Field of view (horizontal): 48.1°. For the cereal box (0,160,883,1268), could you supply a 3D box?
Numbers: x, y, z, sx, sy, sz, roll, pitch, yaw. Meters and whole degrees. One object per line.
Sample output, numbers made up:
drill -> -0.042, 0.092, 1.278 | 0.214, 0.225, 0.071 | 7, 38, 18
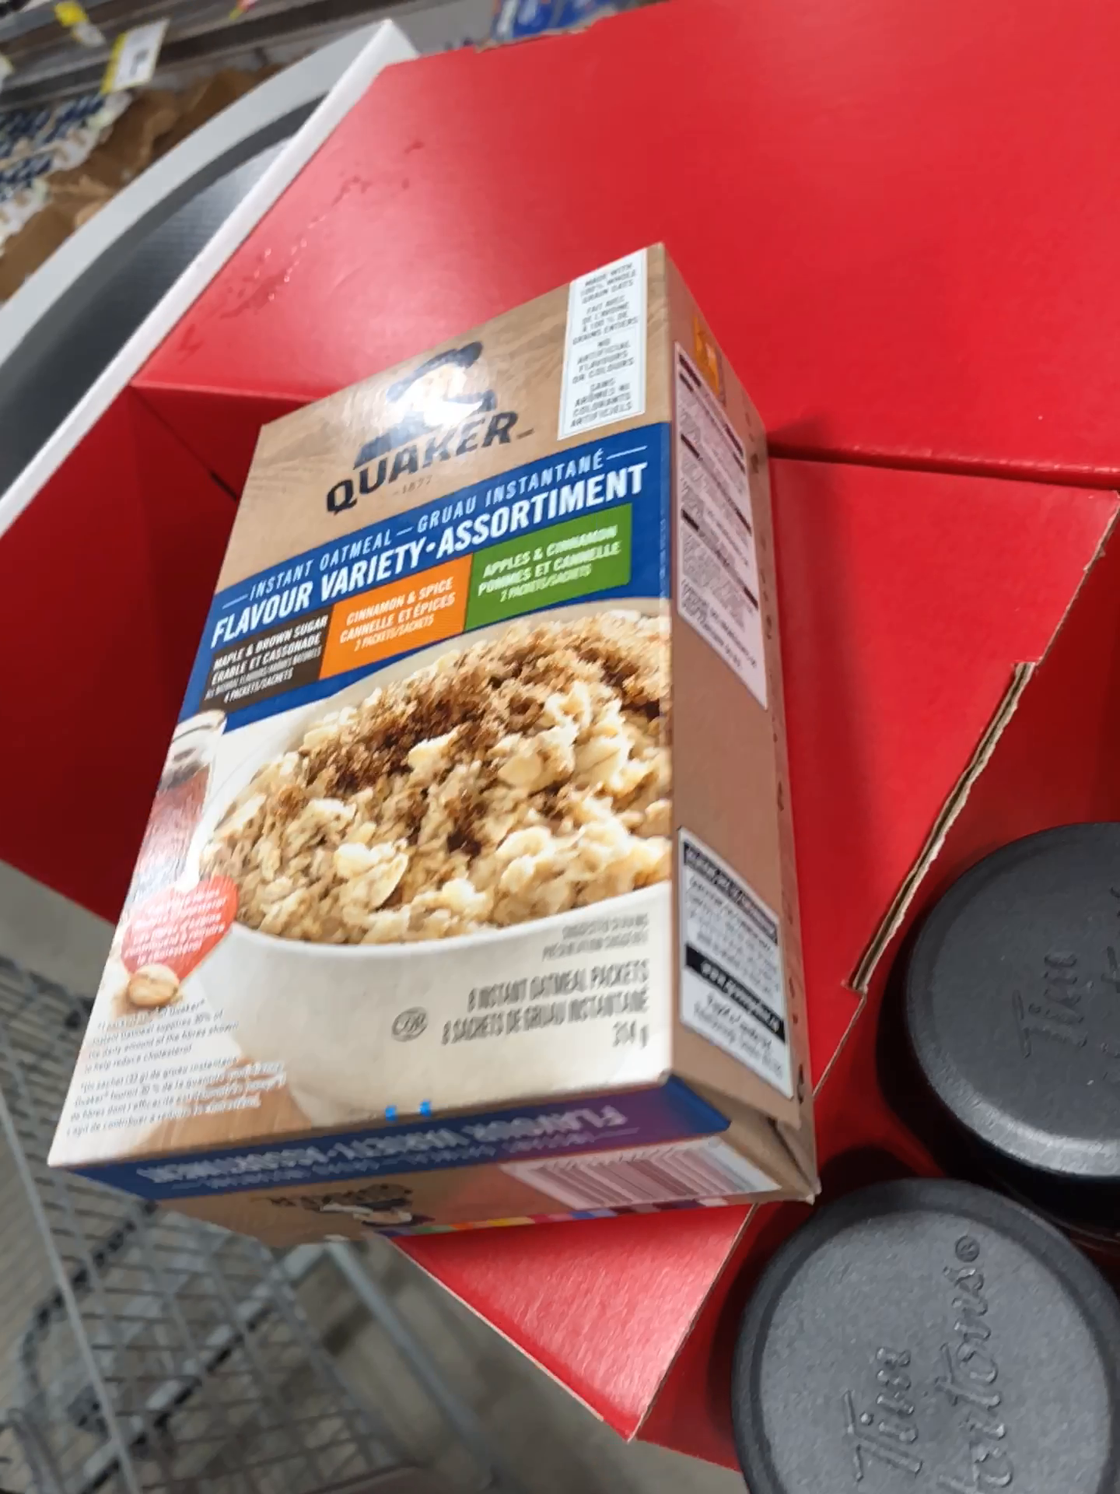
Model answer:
cereal box -> -0.020, -0.009, 0.275 | 0.140, 0.070, 0.210 | -16, 52, 25
